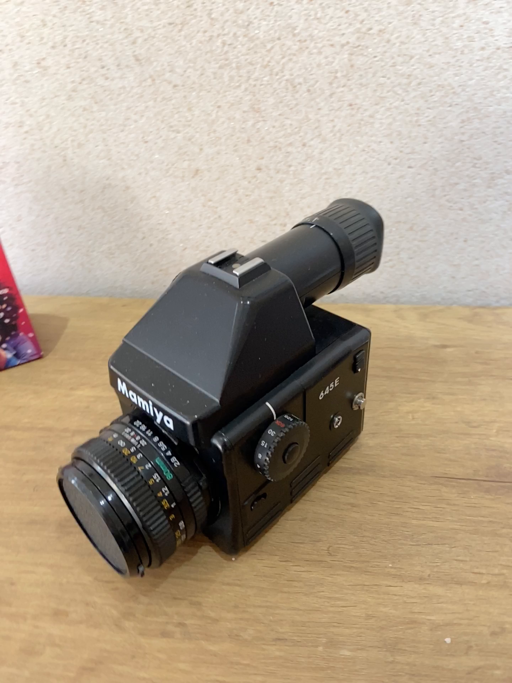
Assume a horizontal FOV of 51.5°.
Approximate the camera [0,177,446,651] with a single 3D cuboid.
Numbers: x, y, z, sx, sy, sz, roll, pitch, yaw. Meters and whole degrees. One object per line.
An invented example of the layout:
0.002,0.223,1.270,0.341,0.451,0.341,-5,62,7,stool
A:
-0.011,0.009,0.285,0.120,0.109,0.221,24,45,34,camera
